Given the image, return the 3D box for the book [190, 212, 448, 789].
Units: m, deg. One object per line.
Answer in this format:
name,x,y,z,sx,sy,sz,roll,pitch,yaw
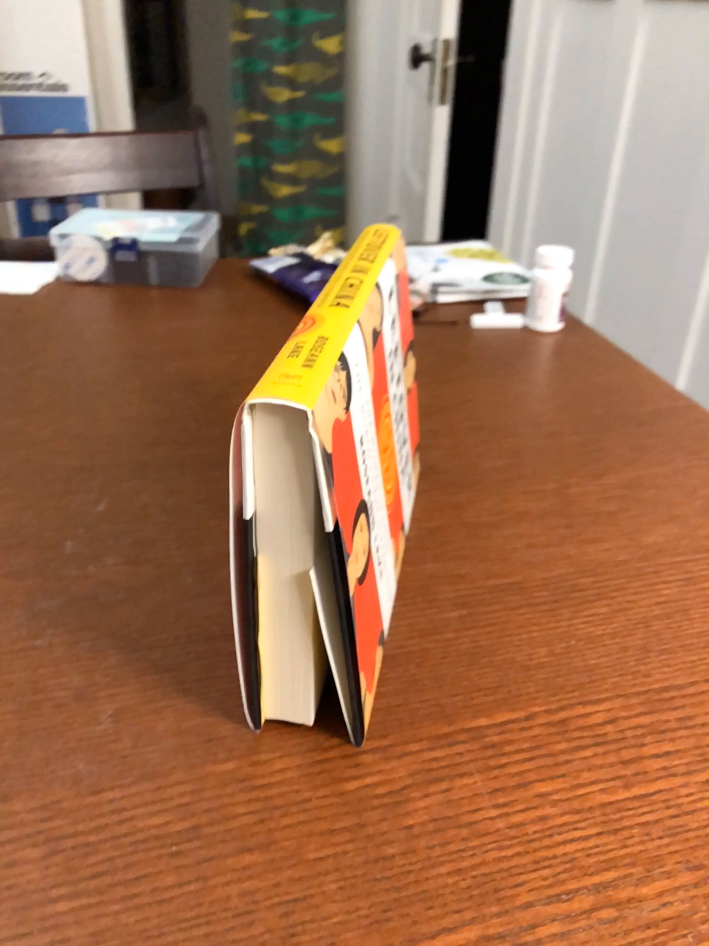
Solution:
book,-0.002,-0.011,0.406,0.060,0.179,0.261,7,31,9
